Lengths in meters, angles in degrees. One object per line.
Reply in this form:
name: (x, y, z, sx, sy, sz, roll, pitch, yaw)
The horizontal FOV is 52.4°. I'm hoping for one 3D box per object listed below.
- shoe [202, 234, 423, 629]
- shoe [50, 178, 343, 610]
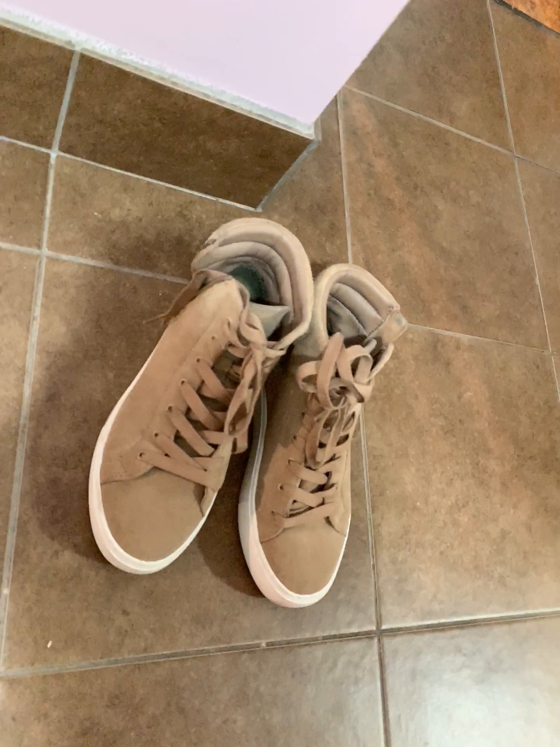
shoe: (0.025, 0.050, 0.455, 0.113, 0.120, 0.270, 13, 68, -25)
shoe: (-0.052, 0.016, 0.400, 0.105, 0.117, 0.254, 24, 63, -21)
